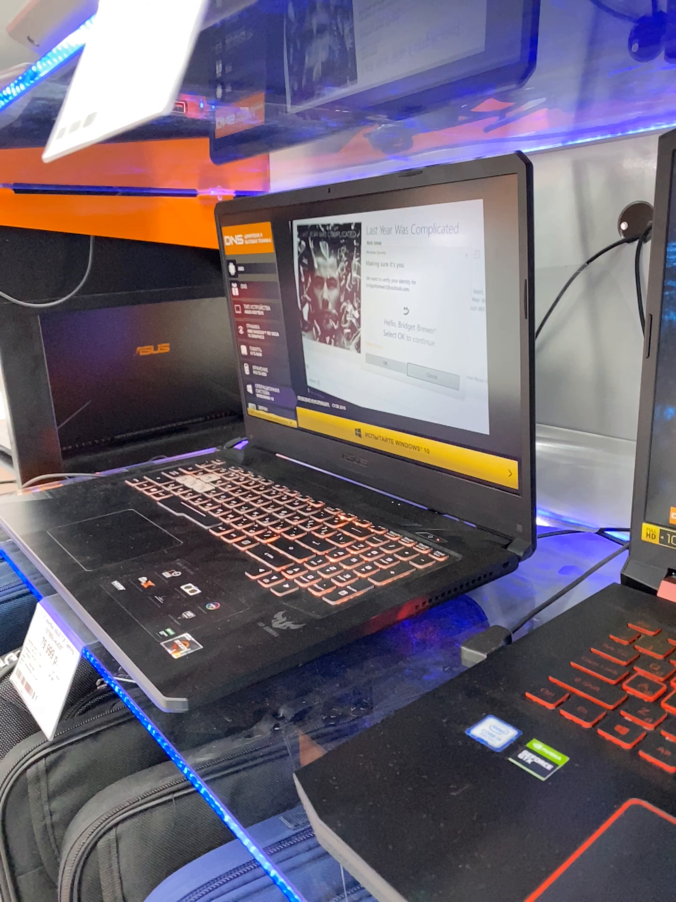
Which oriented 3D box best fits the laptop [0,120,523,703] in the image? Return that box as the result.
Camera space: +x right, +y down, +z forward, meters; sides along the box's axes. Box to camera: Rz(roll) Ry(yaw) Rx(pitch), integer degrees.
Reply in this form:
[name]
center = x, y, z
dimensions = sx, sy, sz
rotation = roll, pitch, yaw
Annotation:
[laptop]
center = -0.103, -0.067, 0.543
dimensions = 0.269, 0.265, 0.398
rotation = -14, 19, -36
